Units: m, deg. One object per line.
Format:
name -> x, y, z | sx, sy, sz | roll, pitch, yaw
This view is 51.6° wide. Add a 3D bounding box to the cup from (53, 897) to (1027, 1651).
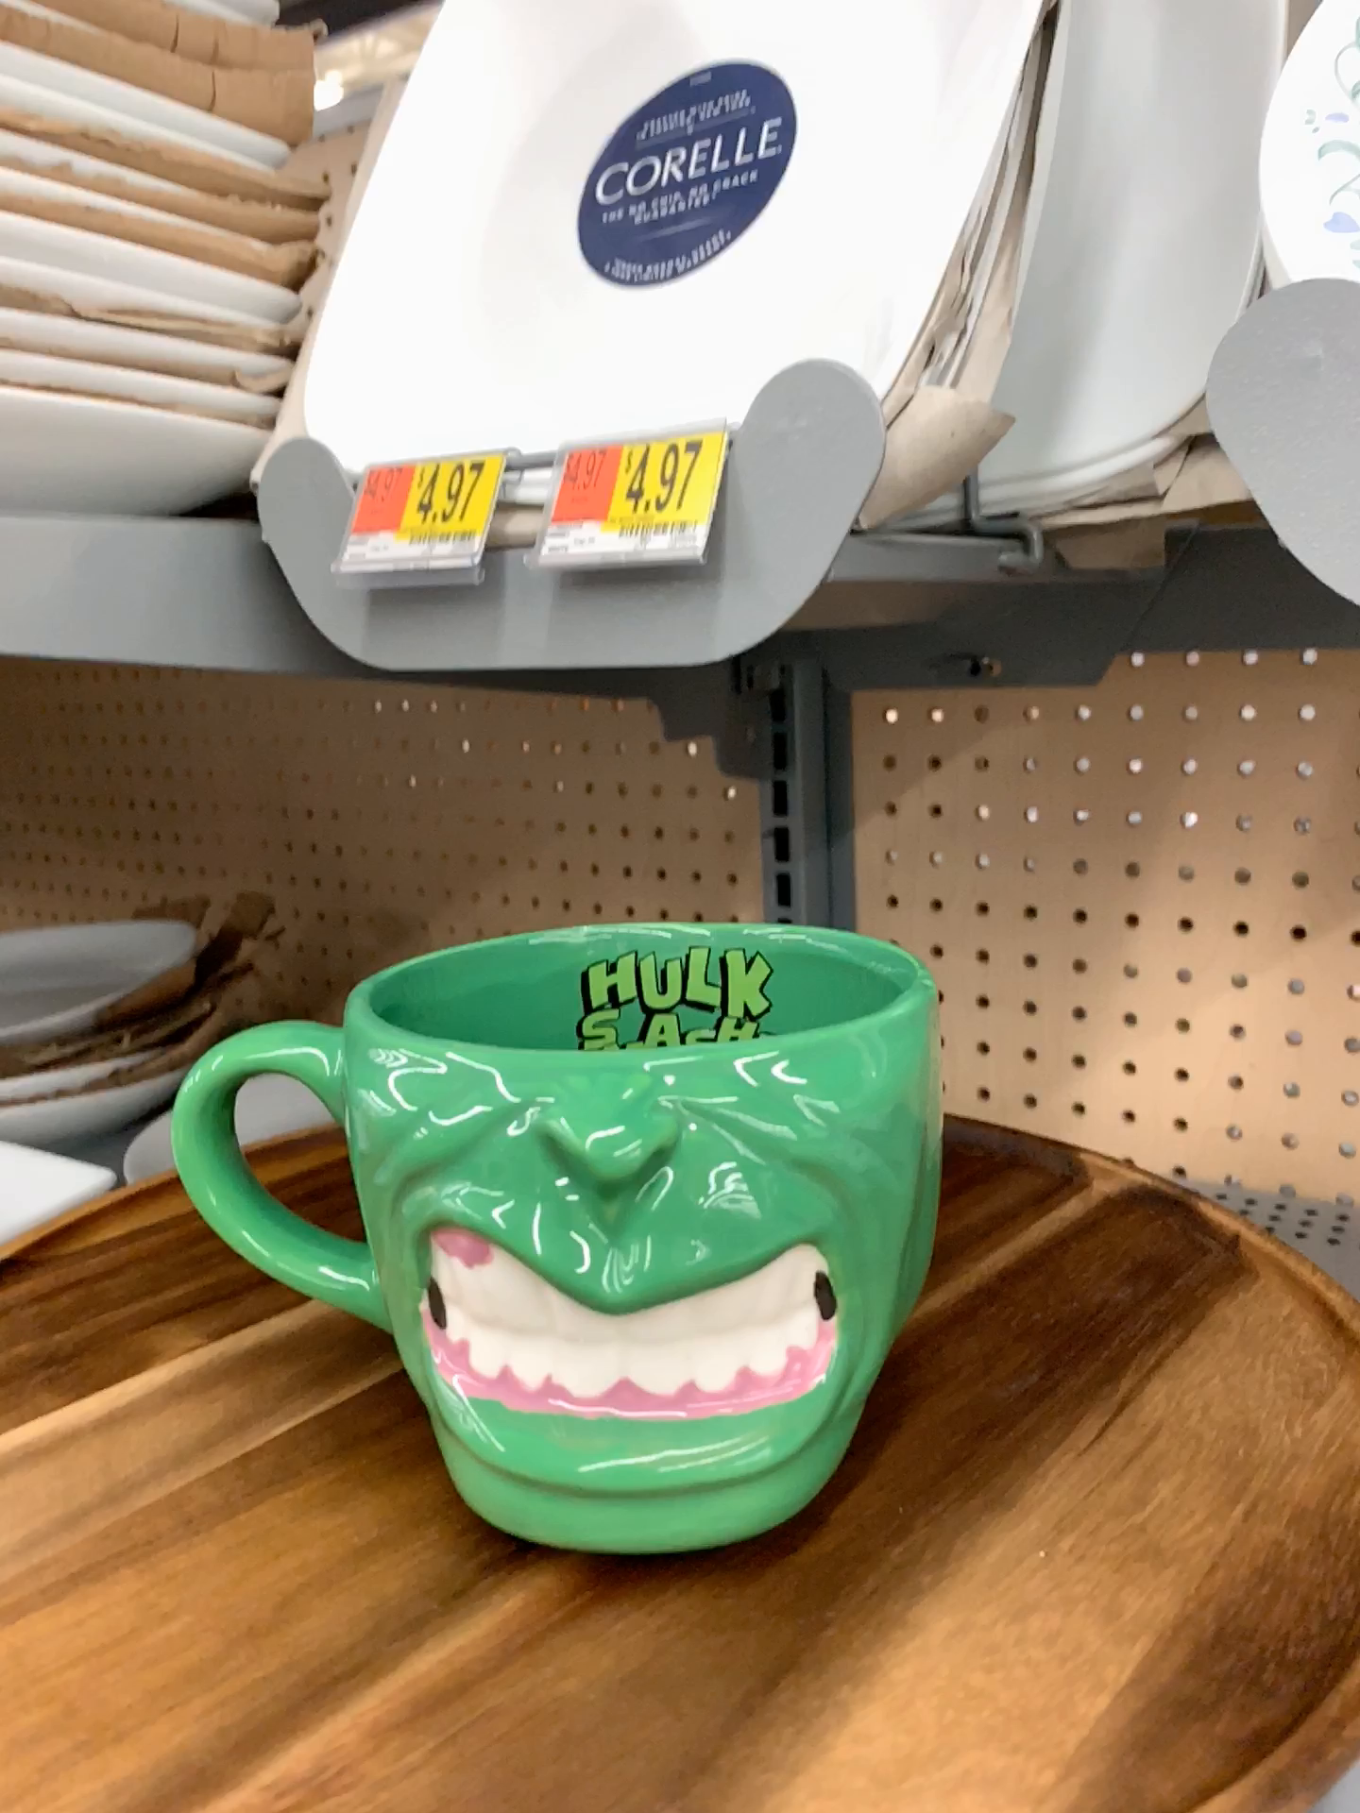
cup -> -0.015, 0.057, 0.272 | 0.140, 0.090, 0.130 | -2, 11, 0
